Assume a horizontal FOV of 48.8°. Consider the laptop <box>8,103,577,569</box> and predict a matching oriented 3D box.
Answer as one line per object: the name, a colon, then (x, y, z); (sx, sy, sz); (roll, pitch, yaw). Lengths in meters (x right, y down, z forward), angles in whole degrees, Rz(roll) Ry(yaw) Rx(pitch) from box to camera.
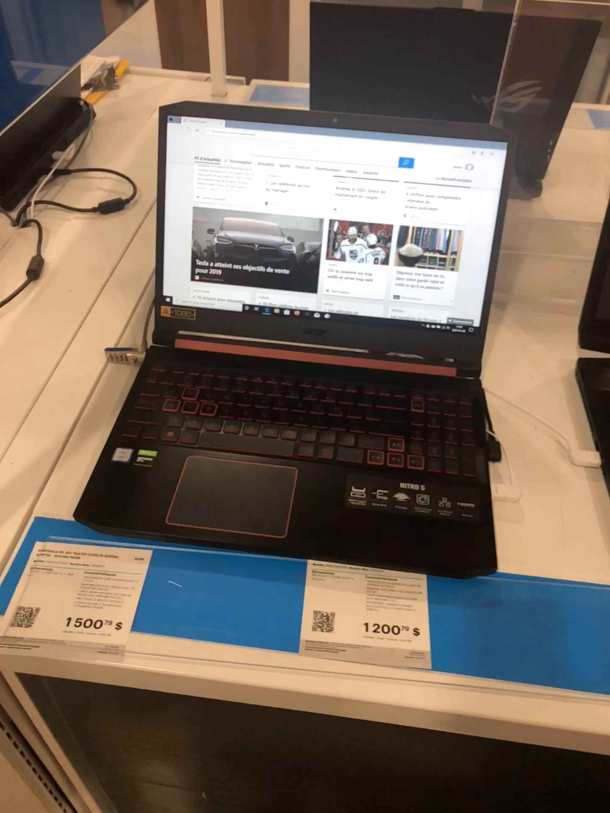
laptop: (0.006, -0.087, 0.617); (0.357, 0.211, 0.360); (6, 45, 4)
